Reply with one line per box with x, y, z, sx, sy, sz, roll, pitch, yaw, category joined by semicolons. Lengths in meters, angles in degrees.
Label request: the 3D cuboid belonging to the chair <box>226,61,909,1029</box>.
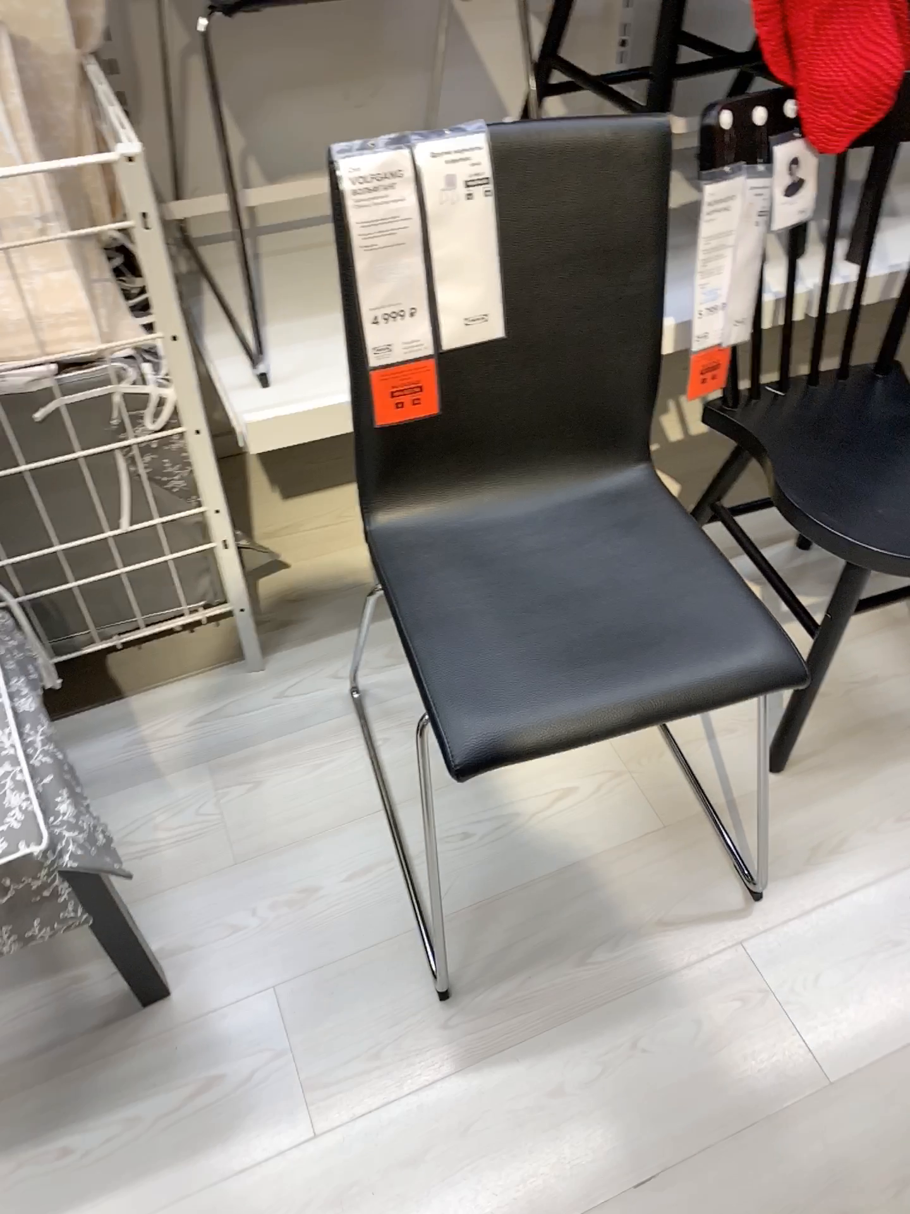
0.119;-0.047;1.104;0.531;0.869;0.610;-14;48;-13;chair

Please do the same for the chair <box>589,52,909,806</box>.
0.586;-0.246;1.352;0.471;0.799;0.600;-17;48;-15;chair
